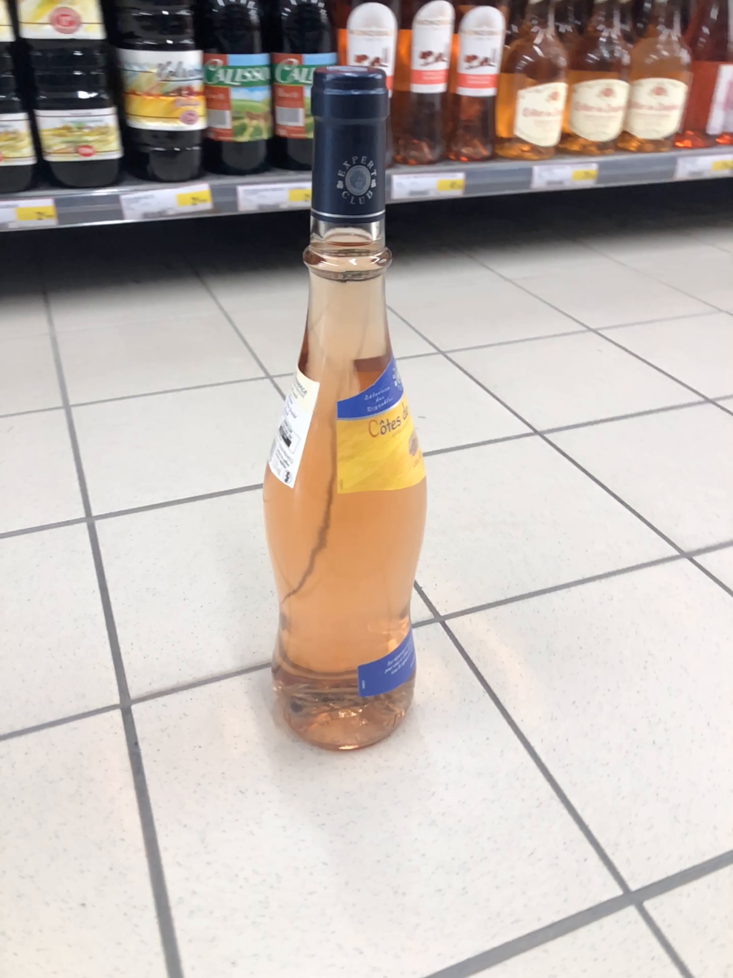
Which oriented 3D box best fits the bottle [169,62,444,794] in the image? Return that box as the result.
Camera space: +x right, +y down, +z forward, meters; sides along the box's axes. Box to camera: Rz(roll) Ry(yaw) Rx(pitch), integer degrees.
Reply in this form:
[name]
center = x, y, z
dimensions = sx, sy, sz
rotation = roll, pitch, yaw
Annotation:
[bottle]
center = -0.018, -0.010, 0.366
dimensions = 0.080, 0.318, 0.091
rotation = 5, 31, 7
